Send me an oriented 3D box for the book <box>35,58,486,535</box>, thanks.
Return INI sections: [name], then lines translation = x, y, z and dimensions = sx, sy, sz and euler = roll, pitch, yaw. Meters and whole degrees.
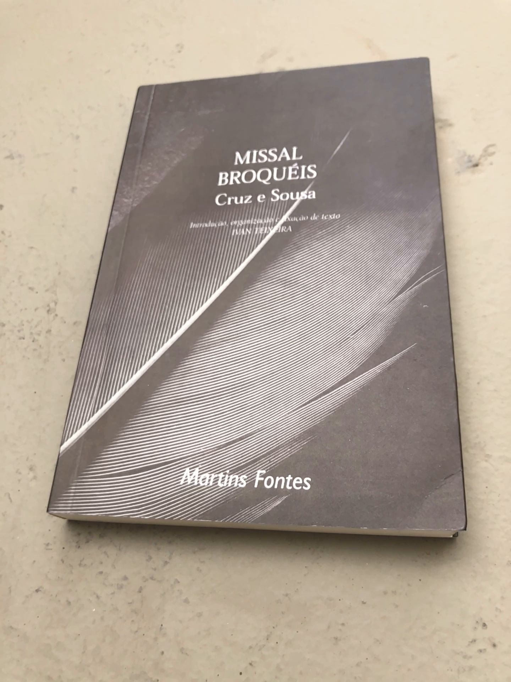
[book]
translation = 0.004, -0.027, 0.204
dimensions = 0.128, 0.016, 0.174
euler = 0, 64, 11
